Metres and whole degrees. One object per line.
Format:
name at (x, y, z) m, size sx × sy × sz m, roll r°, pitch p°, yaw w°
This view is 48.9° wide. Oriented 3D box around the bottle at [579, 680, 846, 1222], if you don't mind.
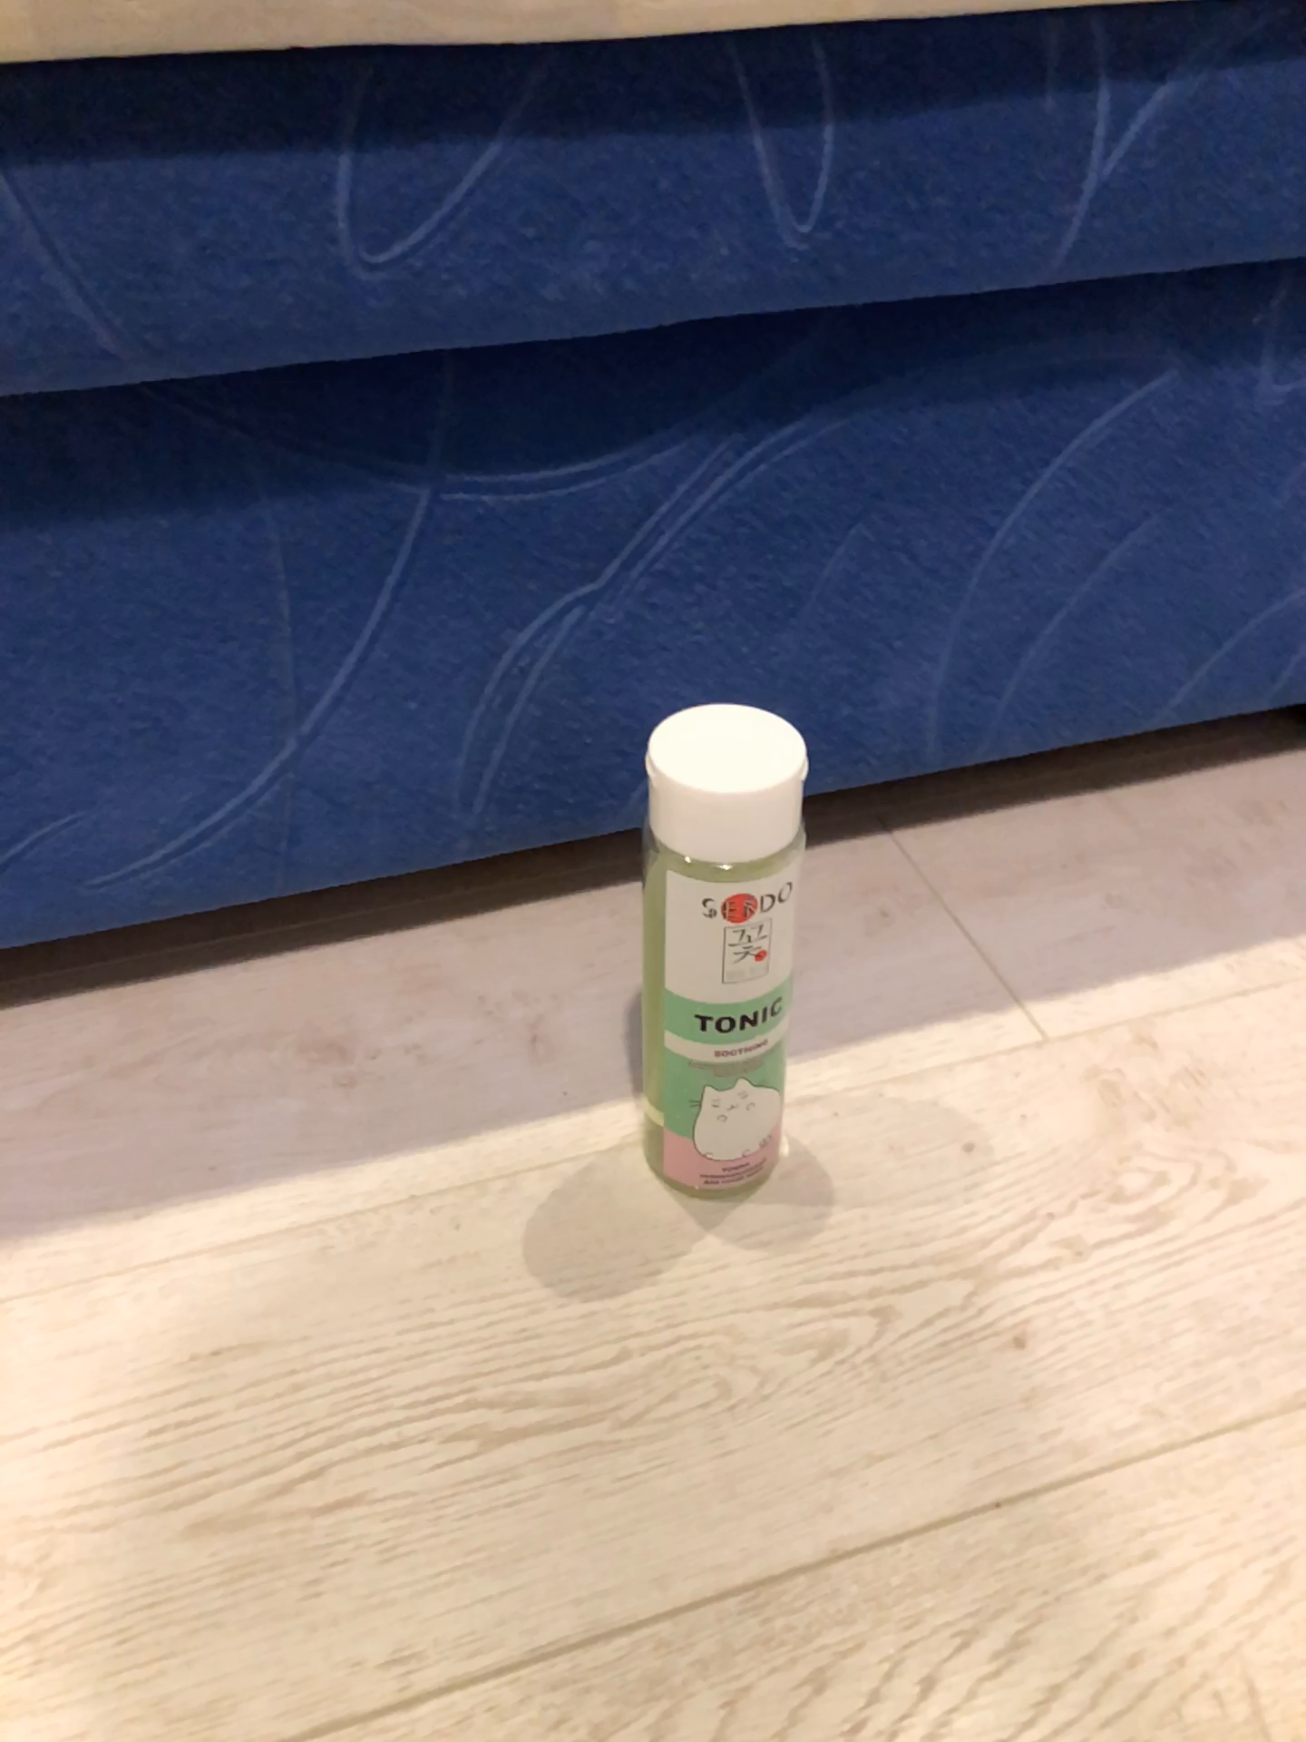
bottle at (0.016, 0.029, 0.445) m, size 0.057 × 0.160 × 0.053 m, roll 0°, pitch 38°, yaw 0°
